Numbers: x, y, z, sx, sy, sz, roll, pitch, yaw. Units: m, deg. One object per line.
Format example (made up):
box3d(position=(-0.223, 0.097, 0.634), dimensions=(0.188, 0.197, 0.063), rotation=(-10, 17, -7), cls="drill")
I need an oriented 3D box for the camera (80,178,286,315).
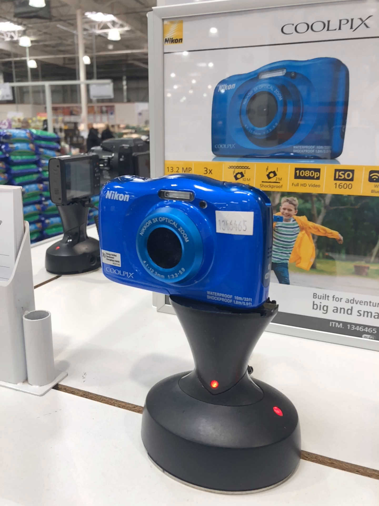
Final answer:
box3d(position=(-0.005, -0.009, 0.246), dimensions=(0.110, 0.060, 0.040), rotation=(8, 17, 25), cls="camera")
